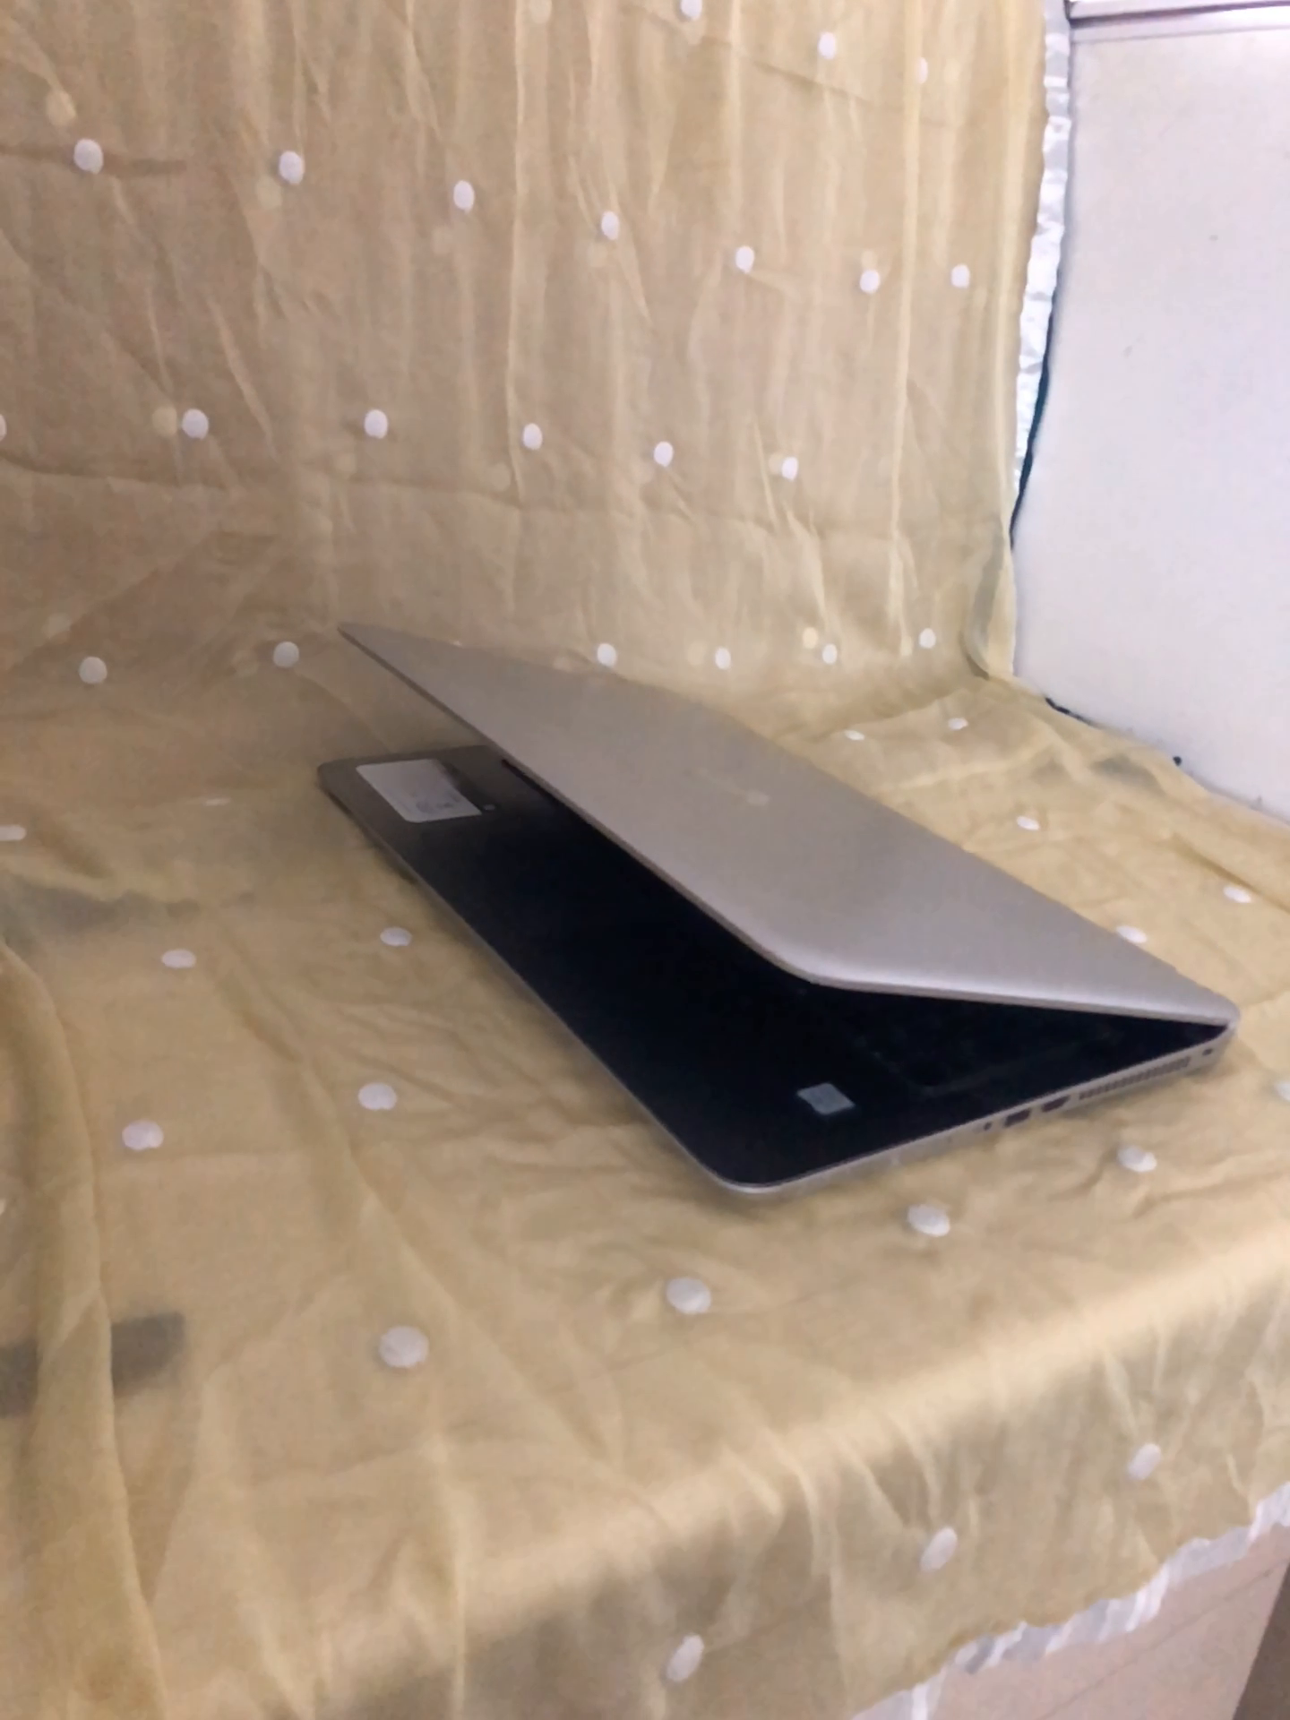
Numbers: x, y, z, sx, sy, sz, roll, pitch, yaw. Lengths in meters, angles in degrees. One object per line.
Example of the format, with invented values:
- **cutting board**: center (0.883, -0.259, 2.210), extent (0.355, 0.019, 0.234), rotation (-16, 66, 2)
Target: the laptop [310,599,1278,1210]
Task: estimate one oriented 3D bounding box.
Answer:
- **laptop**: center (0.036, -0.021, 0.613), extent (0.243, 0.077, 0.366), rotation (-9, 29, -32)
